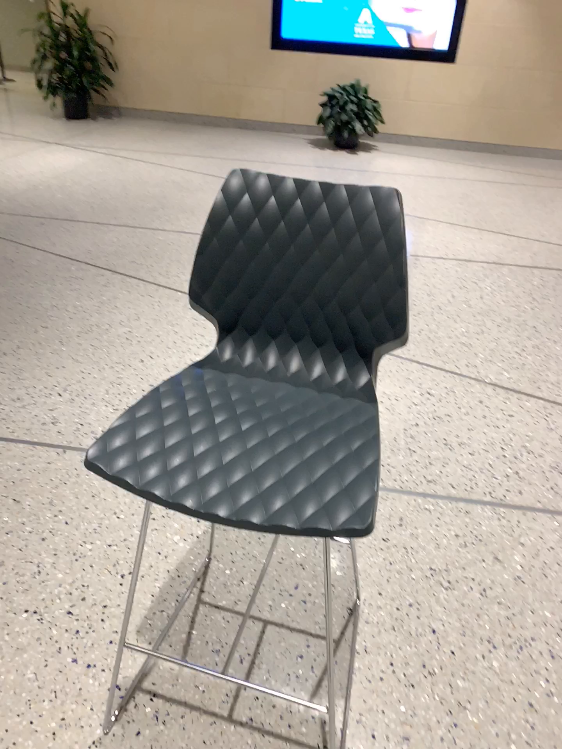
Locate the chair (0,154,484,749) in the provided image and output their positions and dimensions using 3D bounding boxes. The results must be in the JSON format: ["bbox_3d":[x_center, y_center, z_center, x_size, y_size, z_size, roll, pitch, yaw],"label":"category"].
[{"bbox_3d":[-0.038,0.208,1.036,0.534,0.995,0.535,13,33,14],"label":"chair"}]
